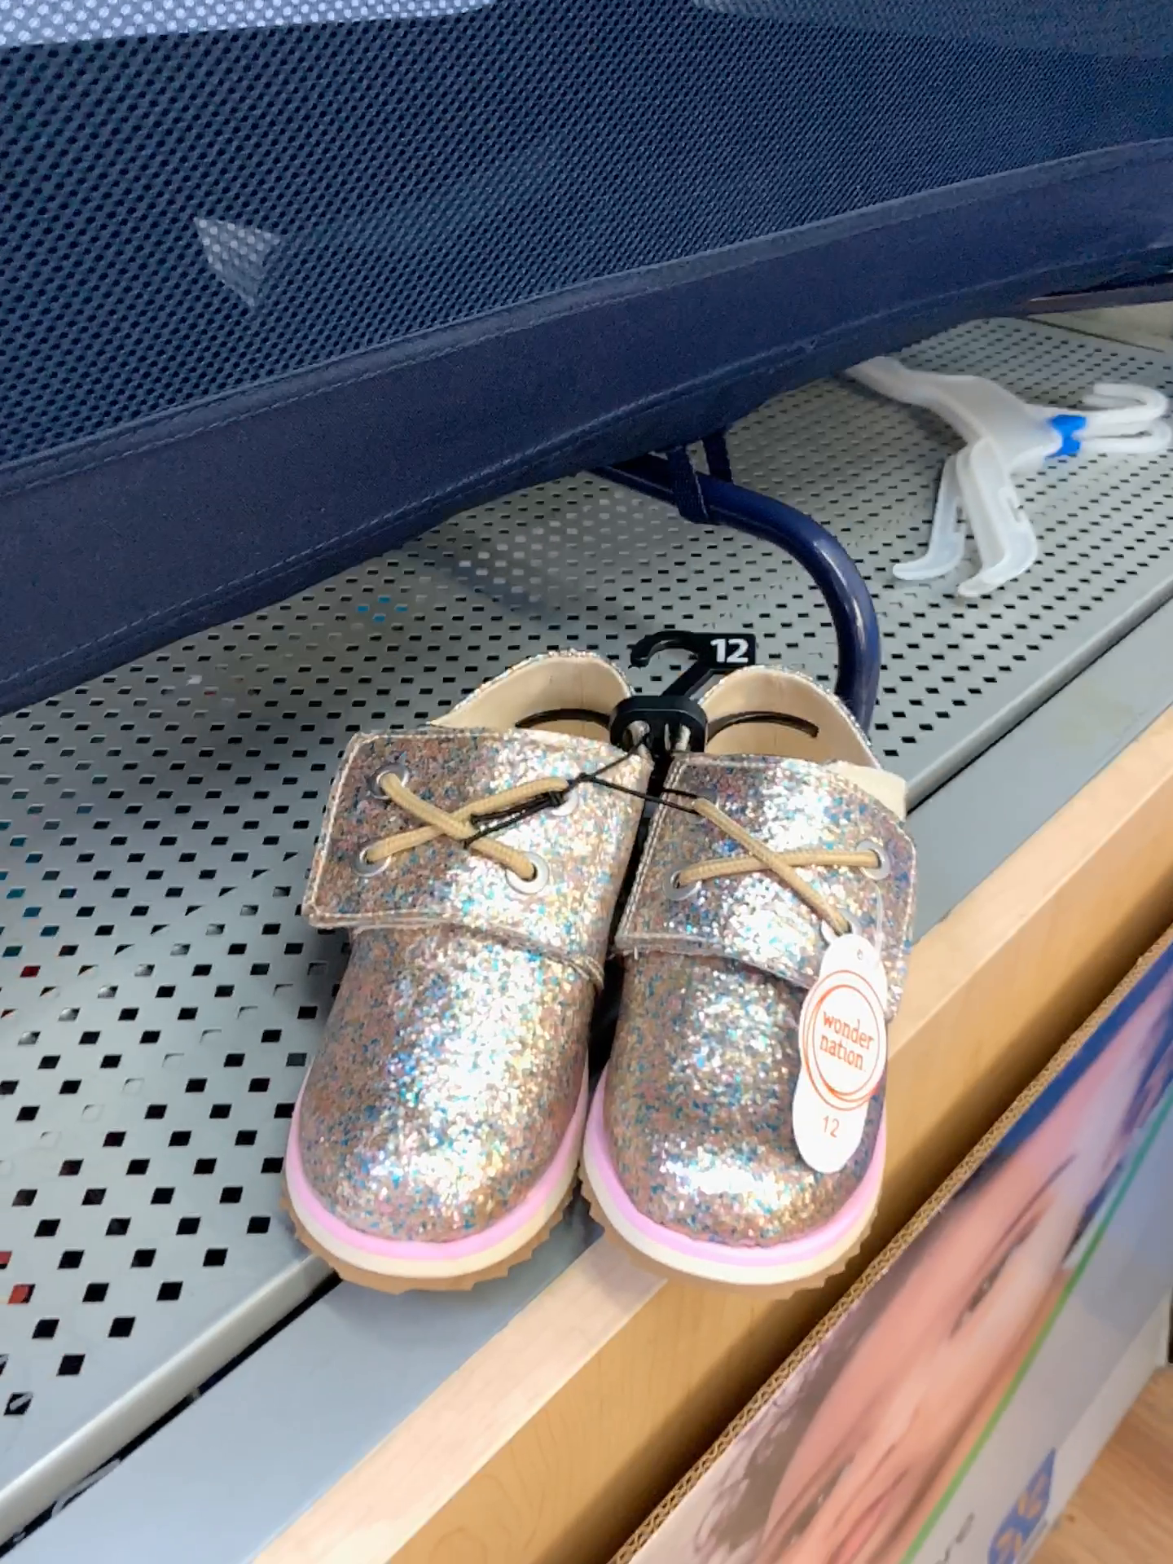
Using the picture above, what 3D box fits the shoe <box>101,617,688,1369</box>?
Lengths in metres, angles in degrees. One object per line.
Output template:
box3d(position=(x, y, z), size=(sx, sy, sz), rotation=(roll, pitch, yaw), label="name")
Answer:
box3d(position=(-0.034, 0.039, 0.336), size=(0.083, 0.070, 0.200), rotation=(9, 39, 11), label="shoe")

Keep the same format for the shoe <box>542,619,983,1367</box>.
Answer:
box3d(position=(0.052, 0.037, 0.333), size=(0.086, 0.060, 0.206), rotation=(8, 38, 8), label="shoe")
